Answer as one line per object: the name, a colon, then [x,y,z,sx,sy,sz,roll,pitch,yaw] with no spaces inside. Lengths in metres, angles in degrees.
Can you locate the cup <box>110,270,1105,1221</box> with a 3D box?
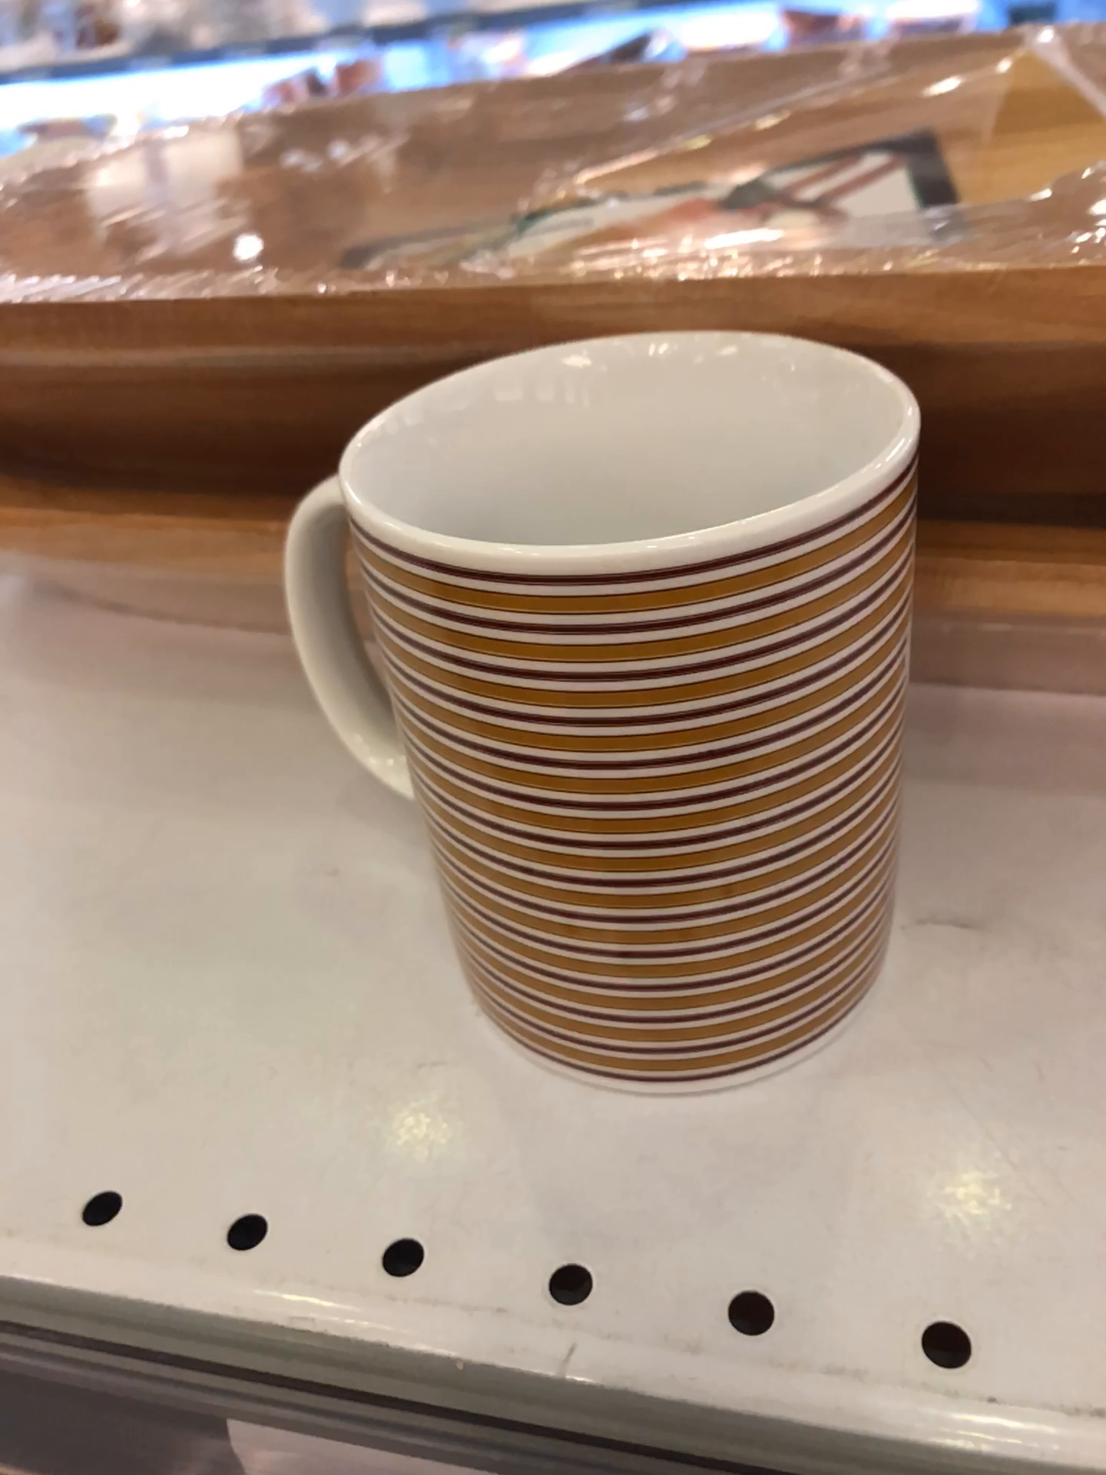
cup: [0.008,-0.013,0.207,0.090,0.089,0.121,-31,40,-30]
